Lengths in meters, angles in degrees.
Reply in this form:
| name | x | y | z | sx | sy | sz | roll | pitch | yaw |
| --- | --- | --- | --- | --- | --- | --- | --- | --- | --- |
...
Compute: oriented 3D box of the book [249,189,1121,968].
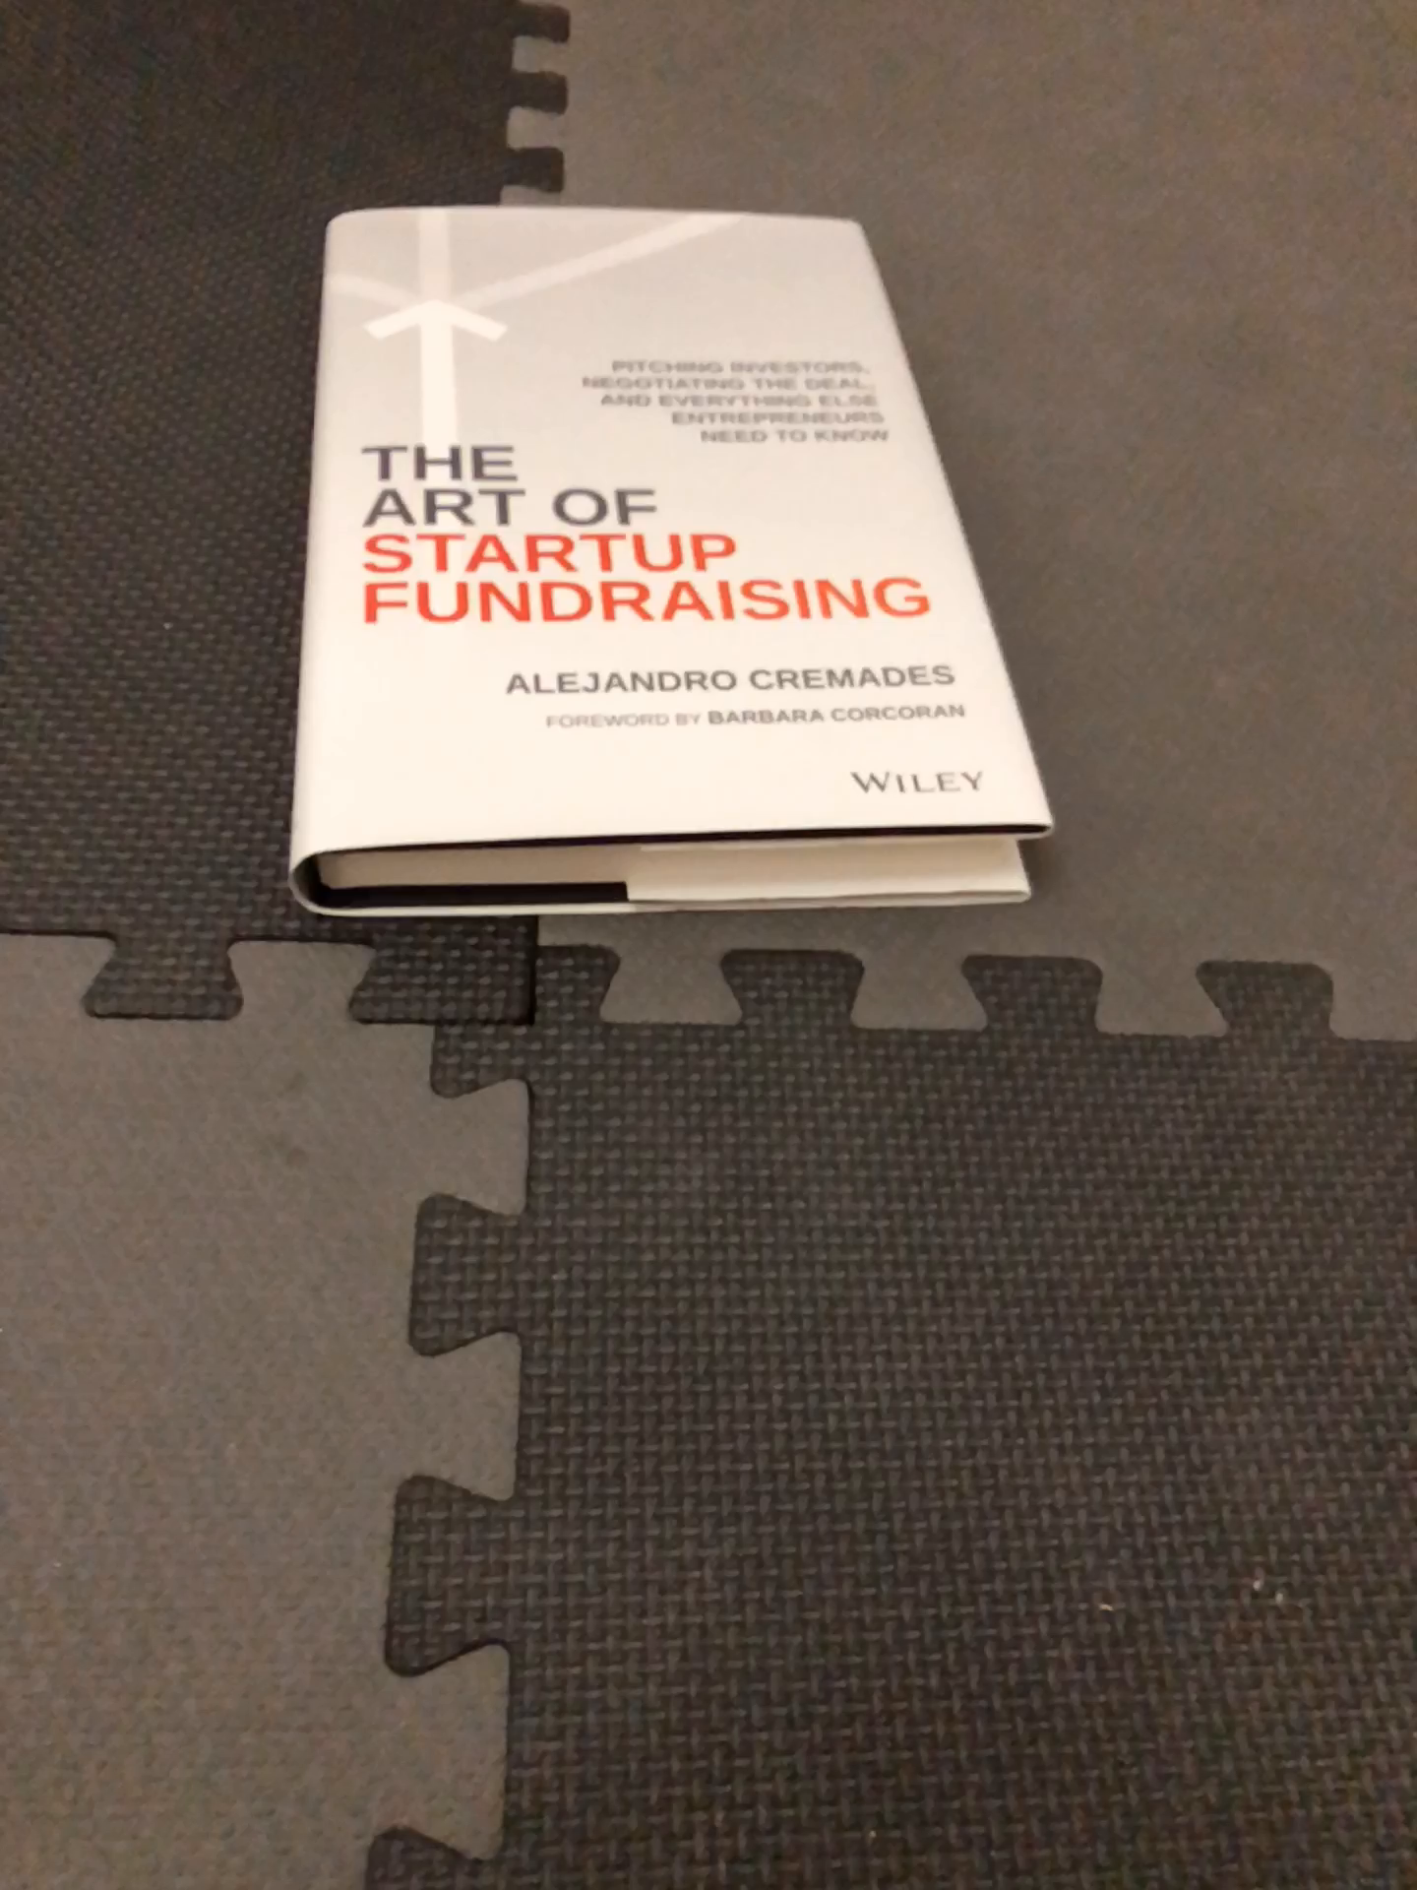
| name | x | y | z | sx | sy | sz | roll | pitch | yaw |
| --- | --- | --- | --- | --- | --- | --- | --- | --- | --- |
| book | -0.015 | -0.106 | 0.393 | 0.170 | 0.030 | 0.251 | -1 | 53 | -7 |
